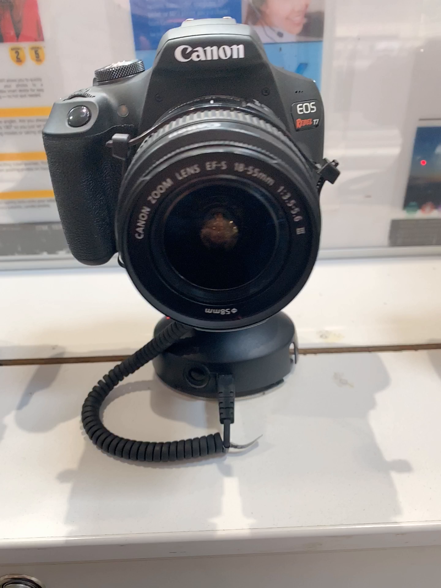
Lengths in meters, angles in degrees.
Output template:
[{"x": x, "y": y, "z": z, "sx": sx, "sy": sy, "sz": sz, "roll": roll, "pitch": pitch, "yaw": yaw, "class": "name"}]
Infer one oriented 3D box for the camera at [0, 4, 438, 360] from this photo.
[{"x": -0.008, "y": -0.052, "z": 0.187, "sx": 0.122, "sy": 0.104, "sz": 0.110, "roll": -2, "pitch": 29, "yaw": -1, "class": "camera"}]
